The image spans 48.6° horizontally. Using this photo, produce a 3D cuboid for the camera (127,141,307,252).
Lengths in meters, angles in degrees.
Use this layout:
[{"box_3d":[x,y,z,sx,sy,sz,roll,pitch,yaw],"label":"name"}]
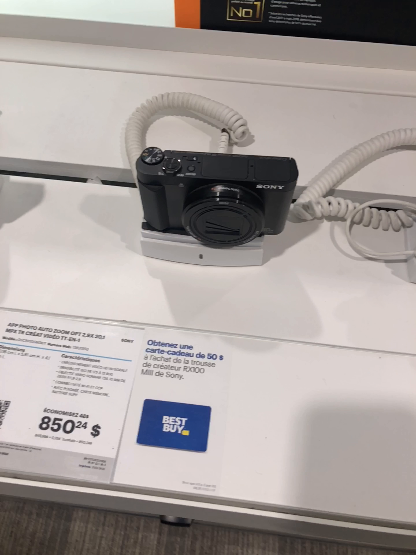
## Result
[{"box_3d":[0.006,-0.054,0.319,0.110,0.070,0.030,4,58,2],"label":"camera"}]
